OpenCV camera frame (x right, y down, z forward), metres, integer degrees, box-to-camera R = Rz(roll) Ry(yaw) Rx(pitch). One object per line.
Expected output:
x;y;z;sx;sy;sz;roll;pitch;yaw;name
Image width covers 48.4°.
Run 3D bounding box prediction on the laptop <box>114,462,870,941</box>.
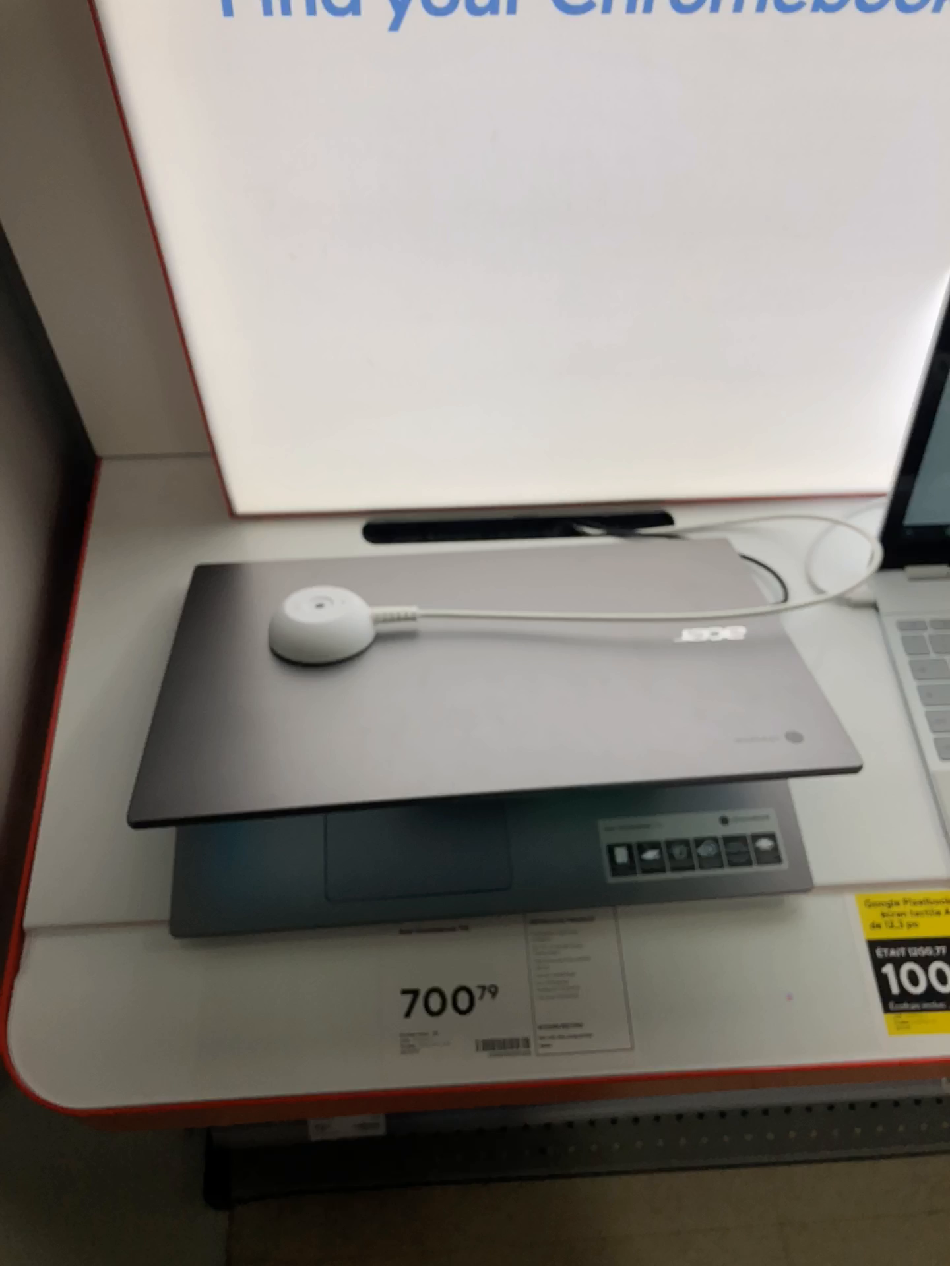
0.001;0.032;0.604;0.356;0.105;0.236;-3;57;-4;laptop
